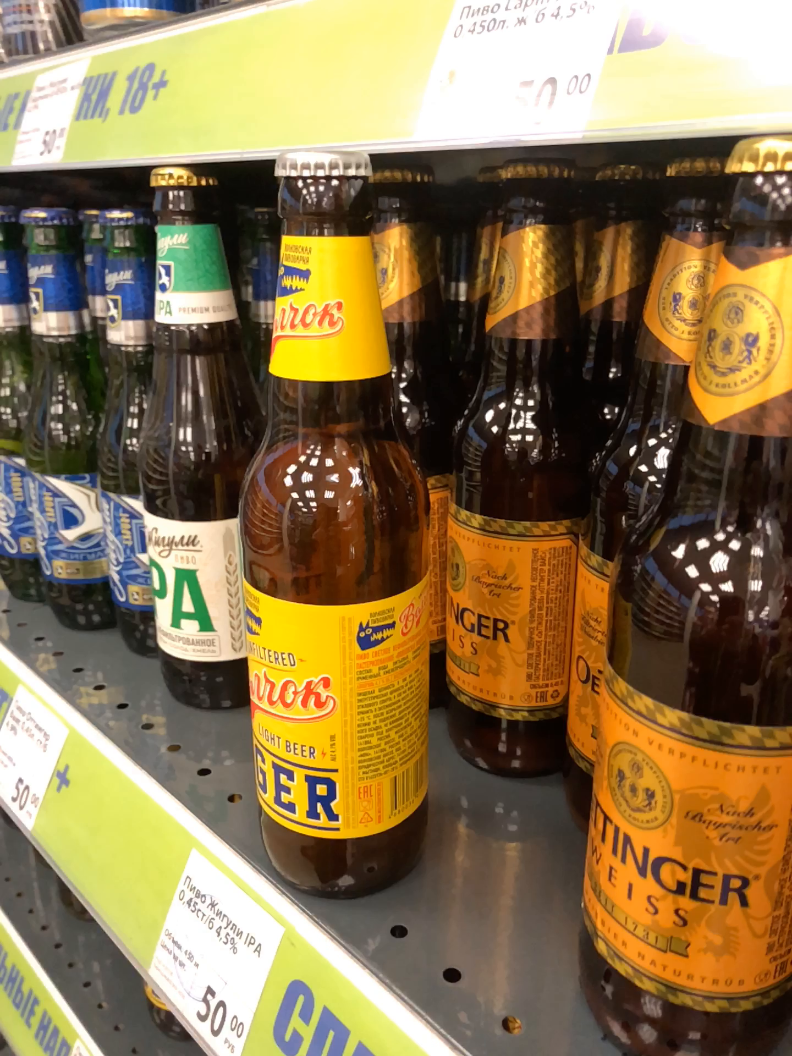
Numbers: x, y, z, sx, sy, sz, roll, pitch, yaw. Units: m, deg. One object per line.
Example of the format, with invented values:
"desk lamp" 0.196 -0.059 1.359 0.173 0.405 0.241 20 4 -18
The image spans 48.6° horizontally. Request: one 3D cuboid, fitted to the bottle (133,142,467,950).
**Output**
"bottle" -0.026 0.007 0.285 0.070 0.239 0.070 -2 21 1
